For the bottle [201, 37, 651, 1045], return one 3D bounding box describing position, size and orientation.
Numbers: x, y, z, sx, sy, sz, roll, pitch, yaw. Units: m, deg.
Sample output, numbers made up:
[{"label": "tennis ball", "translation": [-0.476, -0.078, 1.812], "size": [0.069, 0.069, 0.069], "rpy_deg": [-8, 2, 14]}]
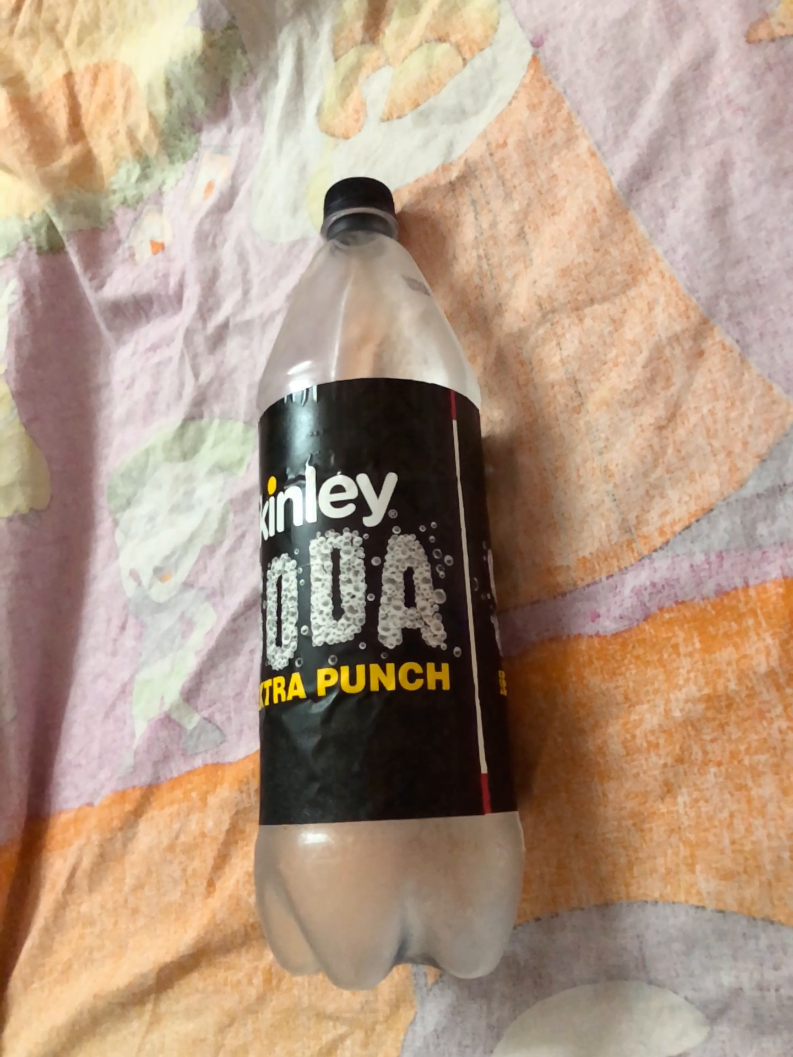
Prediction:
[{"label": "bottle", "translation": [0.004, 0.000, 0.292], "size": [0.090, 0.080, 0.280], "rpy_deg": [-14, 74, 30]}]
